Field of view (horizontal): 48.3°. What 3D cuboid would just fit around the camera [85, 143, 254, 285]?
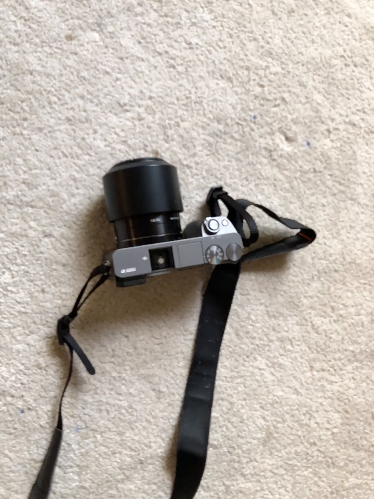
[{"bbox_3d":[-0.018,-0.030,0.368,0.120,0.070,0.100,-9,91,-19],"label":"camera"}]
